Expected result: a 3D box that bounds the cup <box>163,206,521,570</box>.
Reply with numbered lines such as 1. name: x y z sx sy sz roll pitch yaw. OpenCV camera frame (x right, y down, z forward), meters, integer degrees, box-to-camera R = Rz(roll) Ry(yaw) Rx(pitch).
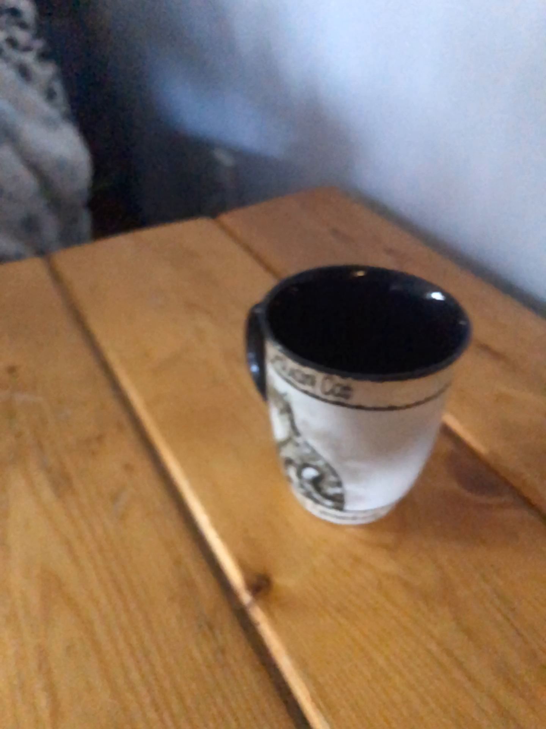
1. cup: 0.026 0.001 0.320 0.100 0.100 0.140 -24 43 -26
